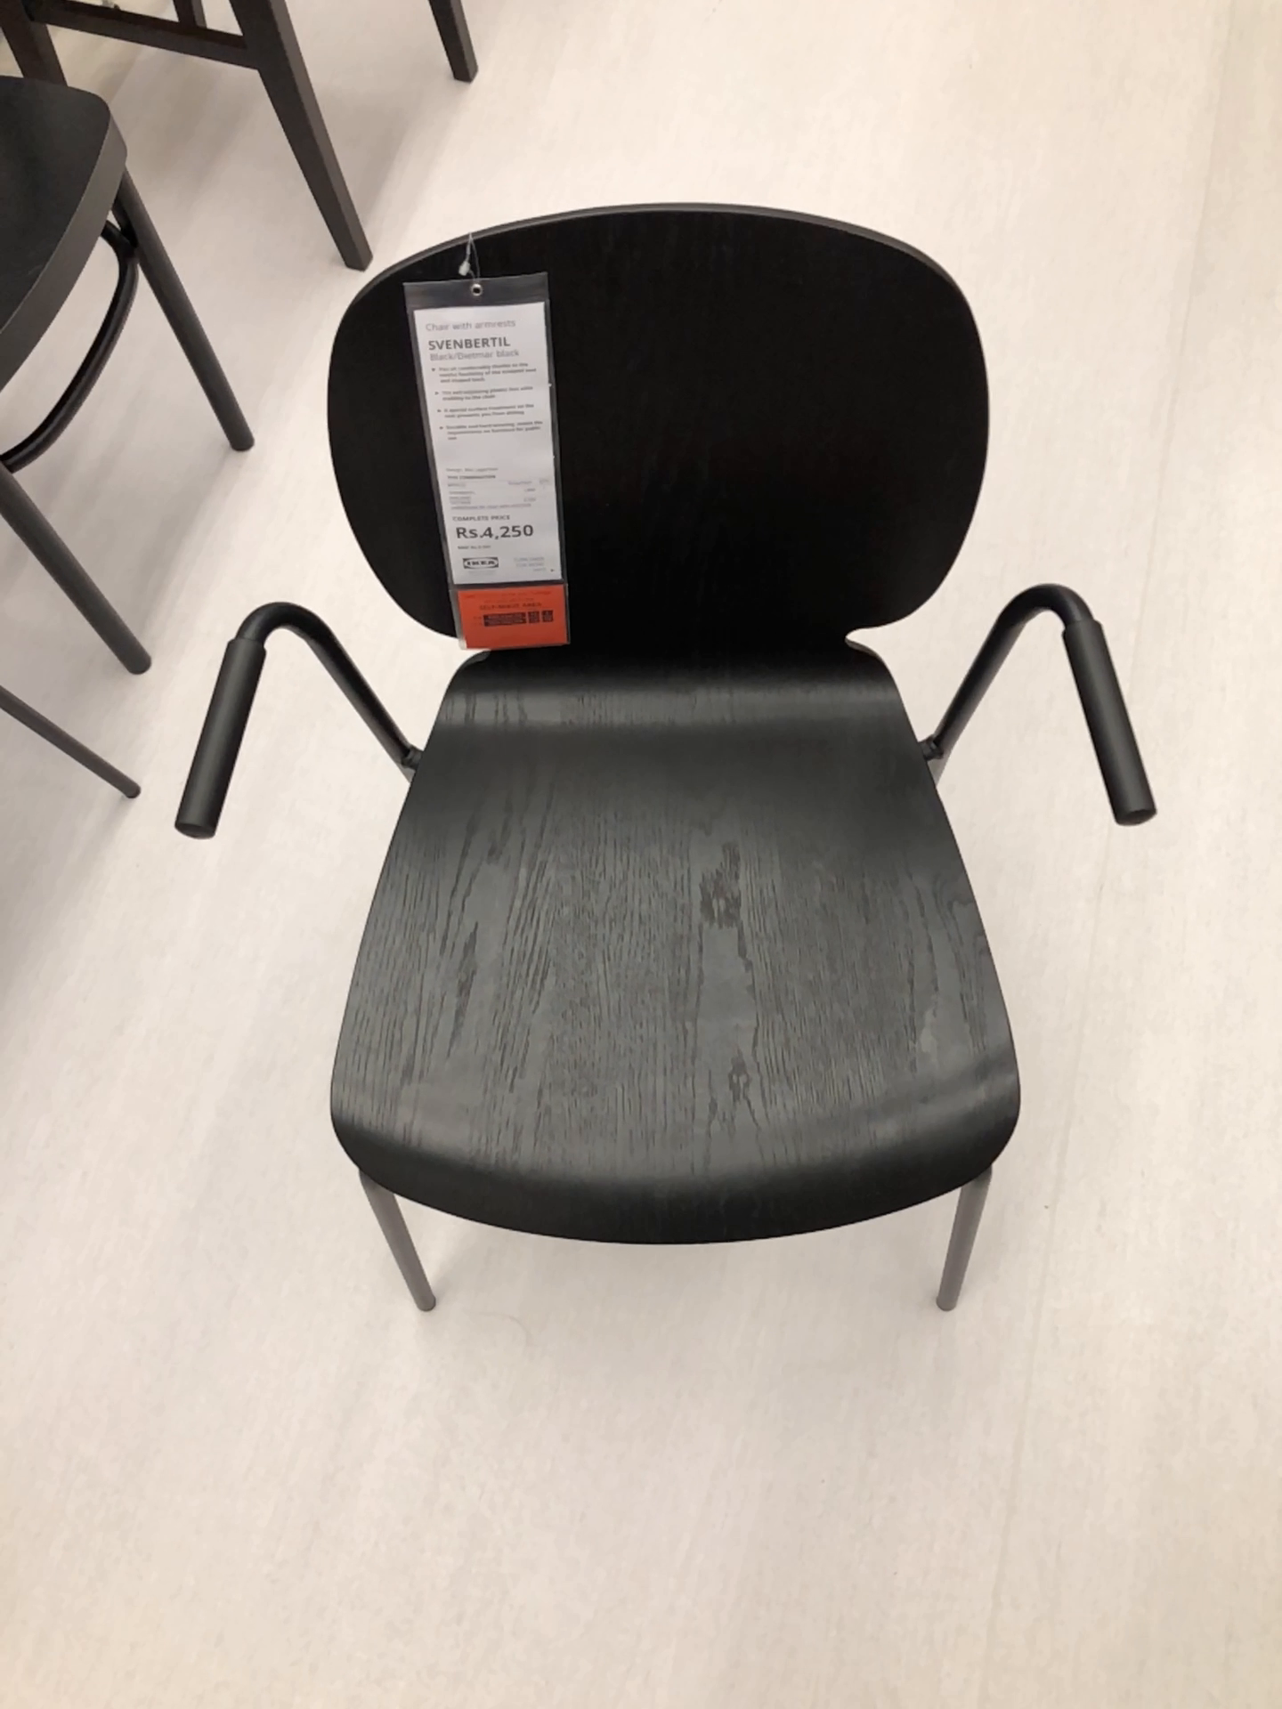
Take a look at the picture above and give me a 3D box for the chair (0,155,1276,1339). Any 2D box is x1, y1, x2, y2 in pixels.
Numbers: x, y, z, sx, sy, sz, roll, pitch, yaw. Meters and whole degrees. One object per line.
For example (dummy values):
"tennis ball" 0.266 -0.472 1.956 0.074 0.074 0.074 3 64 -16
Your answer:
"chair" 0.020 0.004 1.010 0.530 0.688 0.582 1 67 4
